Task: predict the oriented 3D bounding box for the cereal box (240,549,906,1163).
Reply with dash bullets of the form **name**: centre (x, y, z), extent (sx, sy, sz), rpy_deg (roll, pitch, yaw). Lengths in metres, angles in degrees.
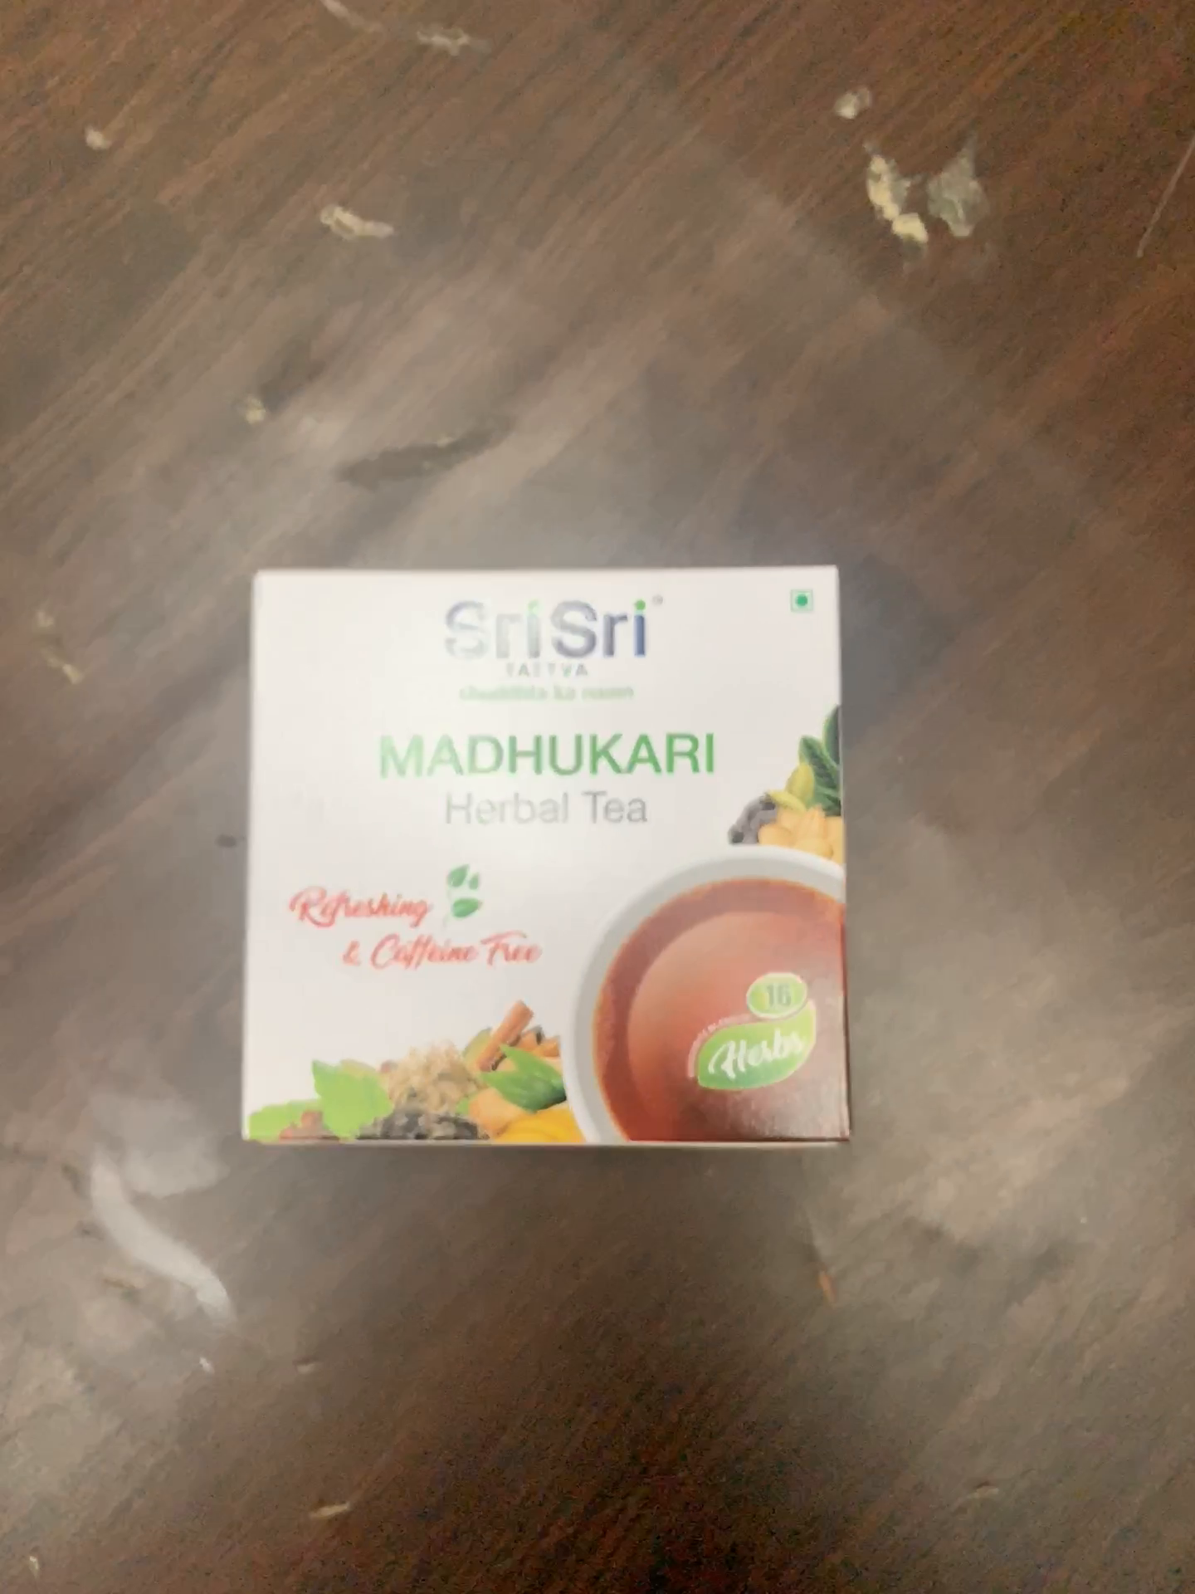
- **cereal box**: centre (-0.005, 0.012, 0.267), extent (0.130, 0.040, 0.120), rpy_deg (0, 87, 2)
